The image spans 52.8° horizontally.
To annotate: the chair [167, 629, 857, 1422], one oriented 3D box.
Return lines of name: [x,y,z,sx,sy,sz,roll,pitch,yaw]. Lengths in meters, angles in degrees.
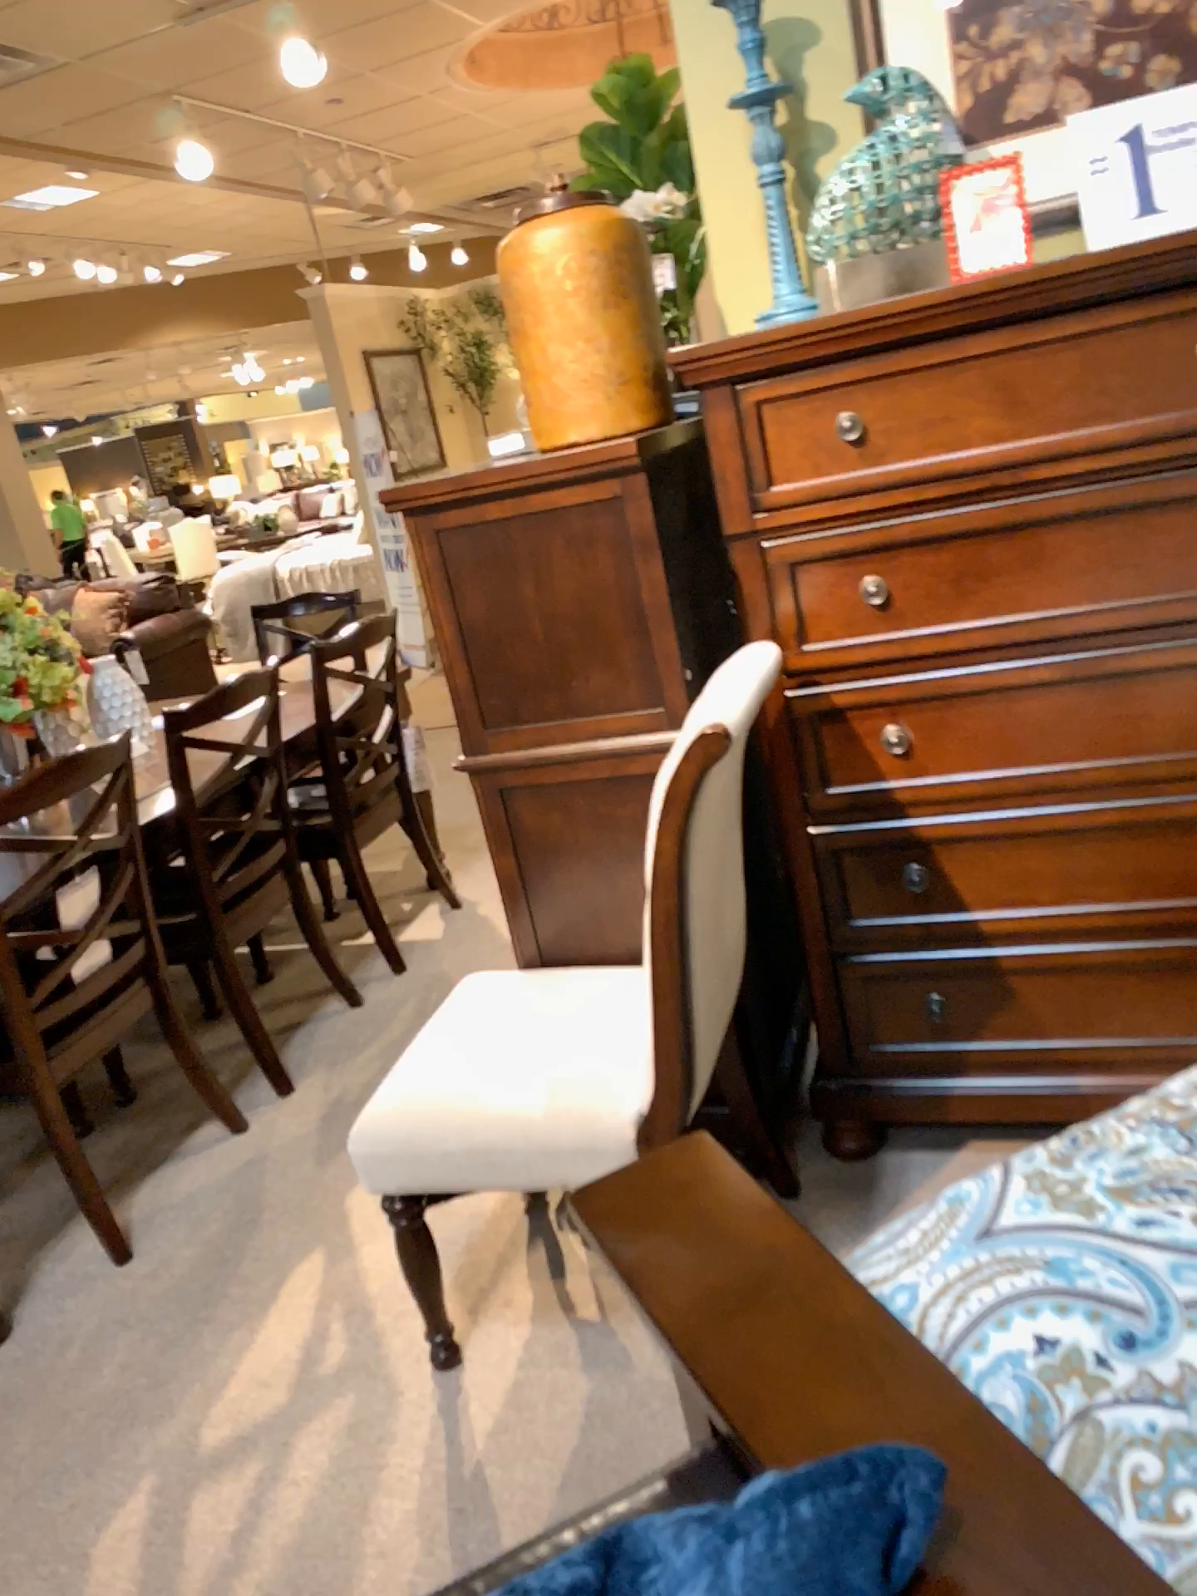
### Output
chair: [-0.050,0.319,1.851,0.718,0.950,0.586,-6,18,19]
